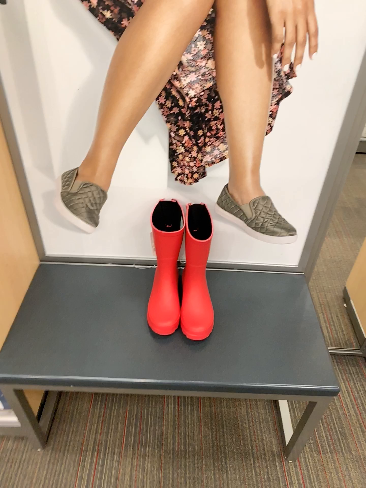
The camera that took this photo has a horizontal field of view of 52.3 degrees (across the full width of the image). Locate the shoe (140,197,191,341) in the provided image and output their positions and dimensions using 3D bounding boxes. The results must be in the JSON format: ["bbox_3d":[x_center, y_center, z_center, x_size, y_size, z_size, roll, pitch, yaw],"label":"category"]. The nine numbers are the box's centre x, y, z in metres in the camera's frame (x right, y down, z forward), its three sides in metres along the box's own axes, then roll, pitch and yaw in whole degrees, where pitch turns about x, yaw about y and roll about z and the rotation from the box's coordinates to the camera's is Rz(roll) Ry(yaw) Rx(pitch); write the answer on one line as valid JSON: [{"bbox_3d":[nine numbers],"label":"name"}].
[{"bbox_3d":[-0.044,0.060,0.955,0.106,0.249,0.271,1,39,-2],"label":"shoe"}]

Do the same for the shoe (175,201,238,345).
[{"bbox_3d":[0.045,0.069,0.959,0.106,0.249,0.271,-1,39,-5],"label":"shoe"}]
